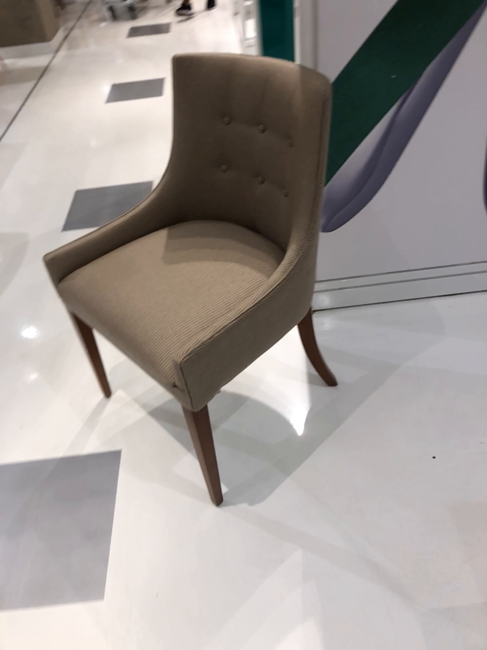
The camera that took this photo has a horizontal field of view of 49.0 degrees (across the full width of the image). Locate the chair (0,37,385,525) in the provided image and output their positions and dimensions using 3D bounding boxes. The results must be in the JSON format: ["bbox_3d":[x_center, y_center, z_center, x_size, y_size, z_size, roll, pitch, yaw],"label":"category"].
[{"bbox_3d":[-0.127,-0.126,1.255,0.592,0.794,0.593,-33,47,-26],"label":"chair"}]
